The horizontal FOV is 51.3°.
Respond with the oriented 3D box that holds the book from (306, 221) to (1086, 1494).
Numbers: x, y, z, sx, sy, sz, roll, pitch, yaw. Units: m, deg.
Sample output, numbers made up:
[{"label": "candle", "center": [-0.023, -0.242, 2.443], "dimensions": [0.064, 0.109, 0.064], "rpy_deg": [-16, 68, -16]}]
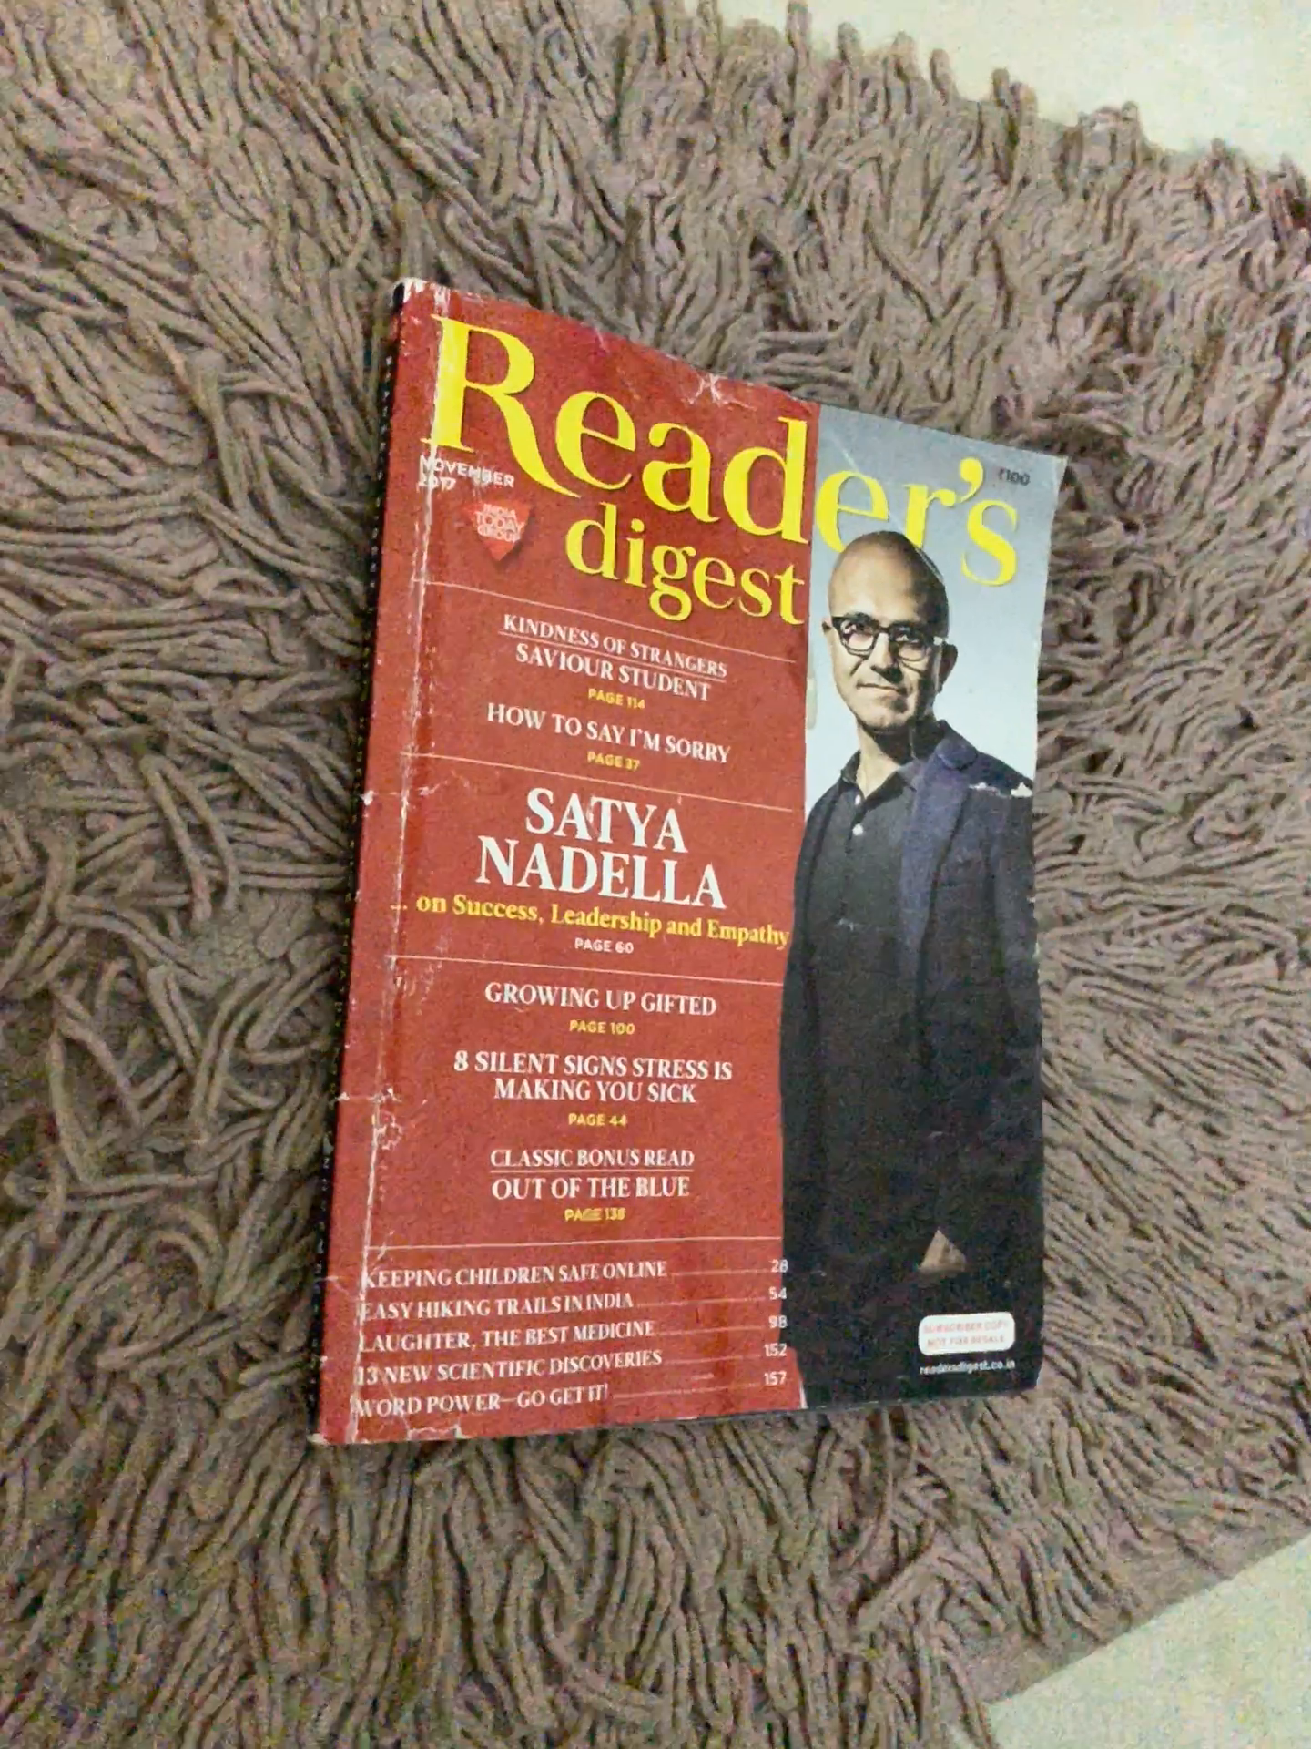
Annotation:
[{"label": "book", "center": [0.014, -0.002, 0.230], "dimensions": [0.130, 0.020, 0.180], "rpy_deg": [6, 80, -27]}]
